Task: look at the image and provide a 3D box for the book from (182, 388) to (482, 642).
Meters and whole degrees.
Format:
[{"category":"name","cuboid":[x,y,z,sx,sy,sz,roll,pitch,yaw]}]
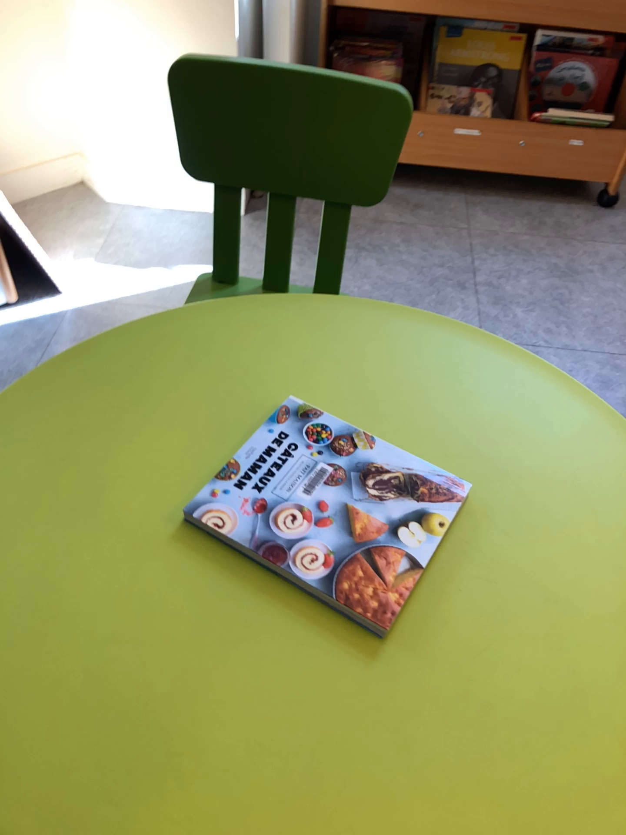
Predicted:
[{"category":"book","cuboid":[0.023,0.081,0.686,0.228,0.021,0.201,26,50,19]}]
